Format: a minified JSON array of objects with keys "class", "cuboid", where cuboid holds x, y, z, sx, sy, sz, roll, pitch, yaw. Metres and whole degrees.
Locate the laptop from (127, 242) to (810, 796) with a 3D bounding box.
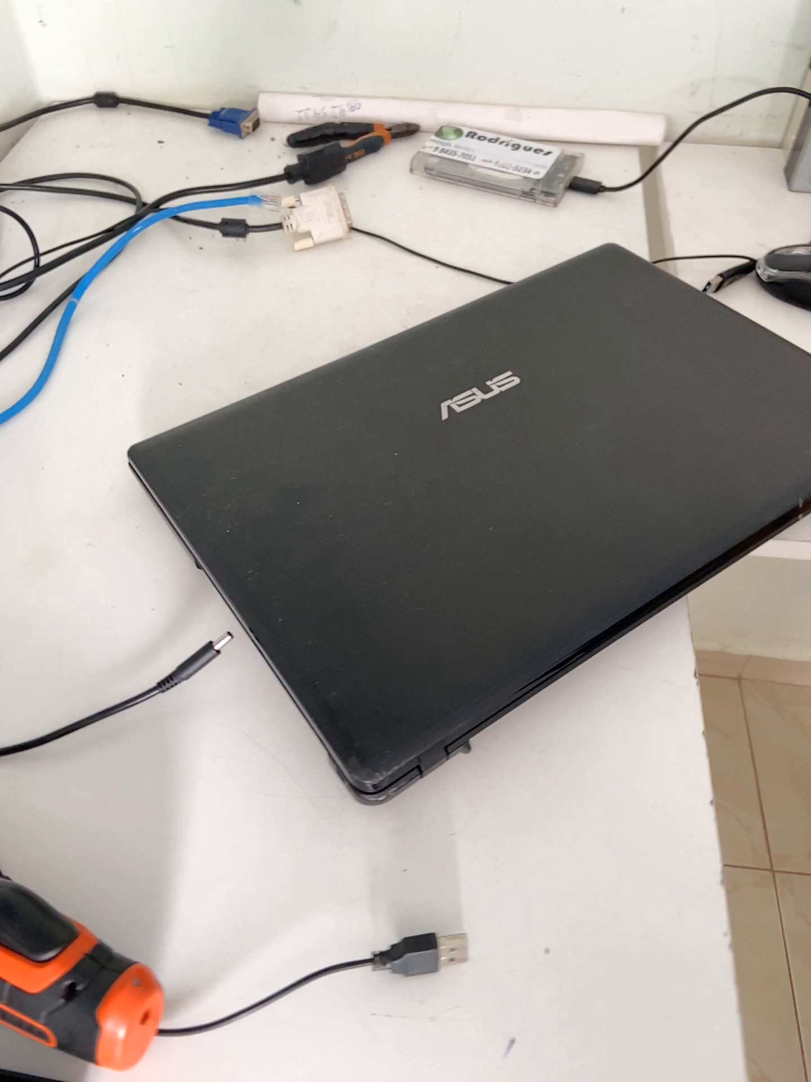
[{"class":"laptop","cuboid":[0.068,-0.058,0.484,0.381,0.010,0.253,-28,53,-21]}]
